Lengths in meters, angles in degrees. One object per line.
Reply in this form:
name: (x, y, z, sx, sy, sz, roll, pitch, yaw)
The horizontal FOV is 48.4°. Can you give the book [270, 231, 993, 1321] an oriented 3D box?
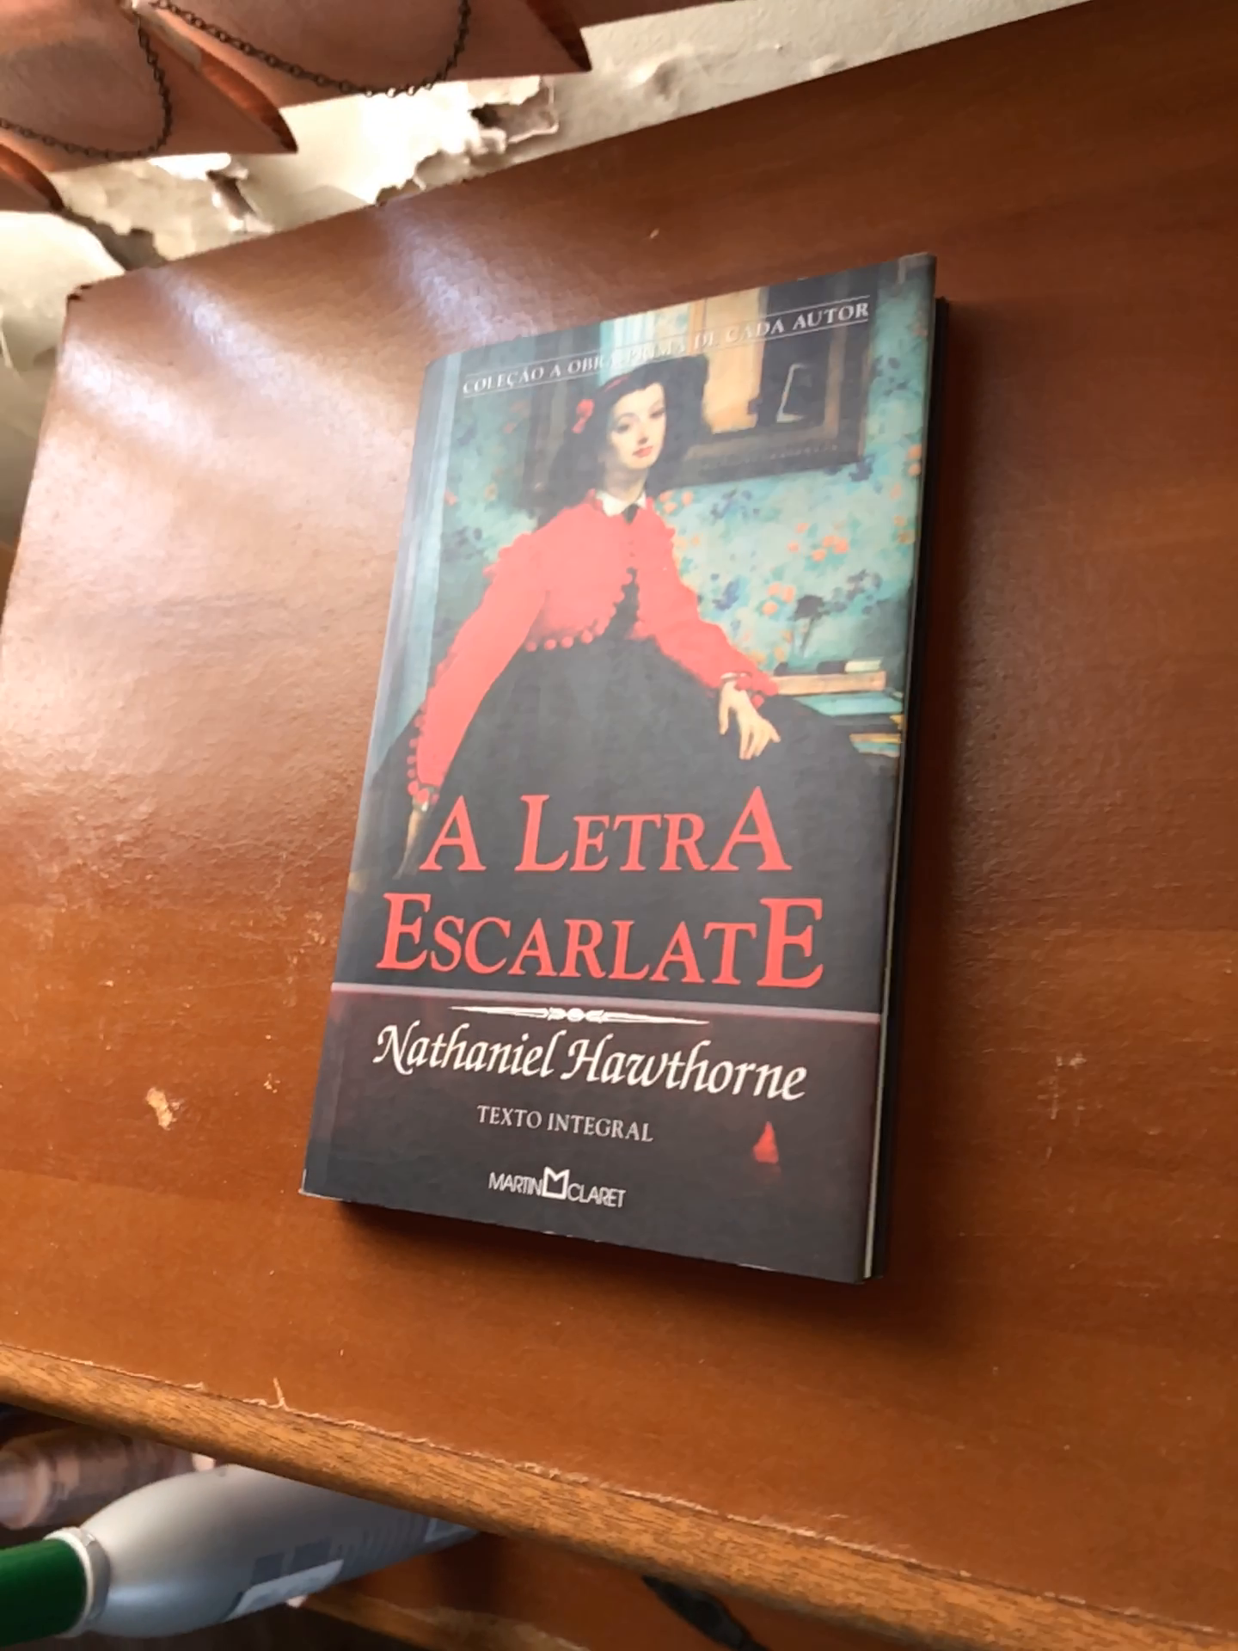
book: (0.001, -0.012, 0.236, 0.112, 0.015, 0.166, -1, 75, 31)
